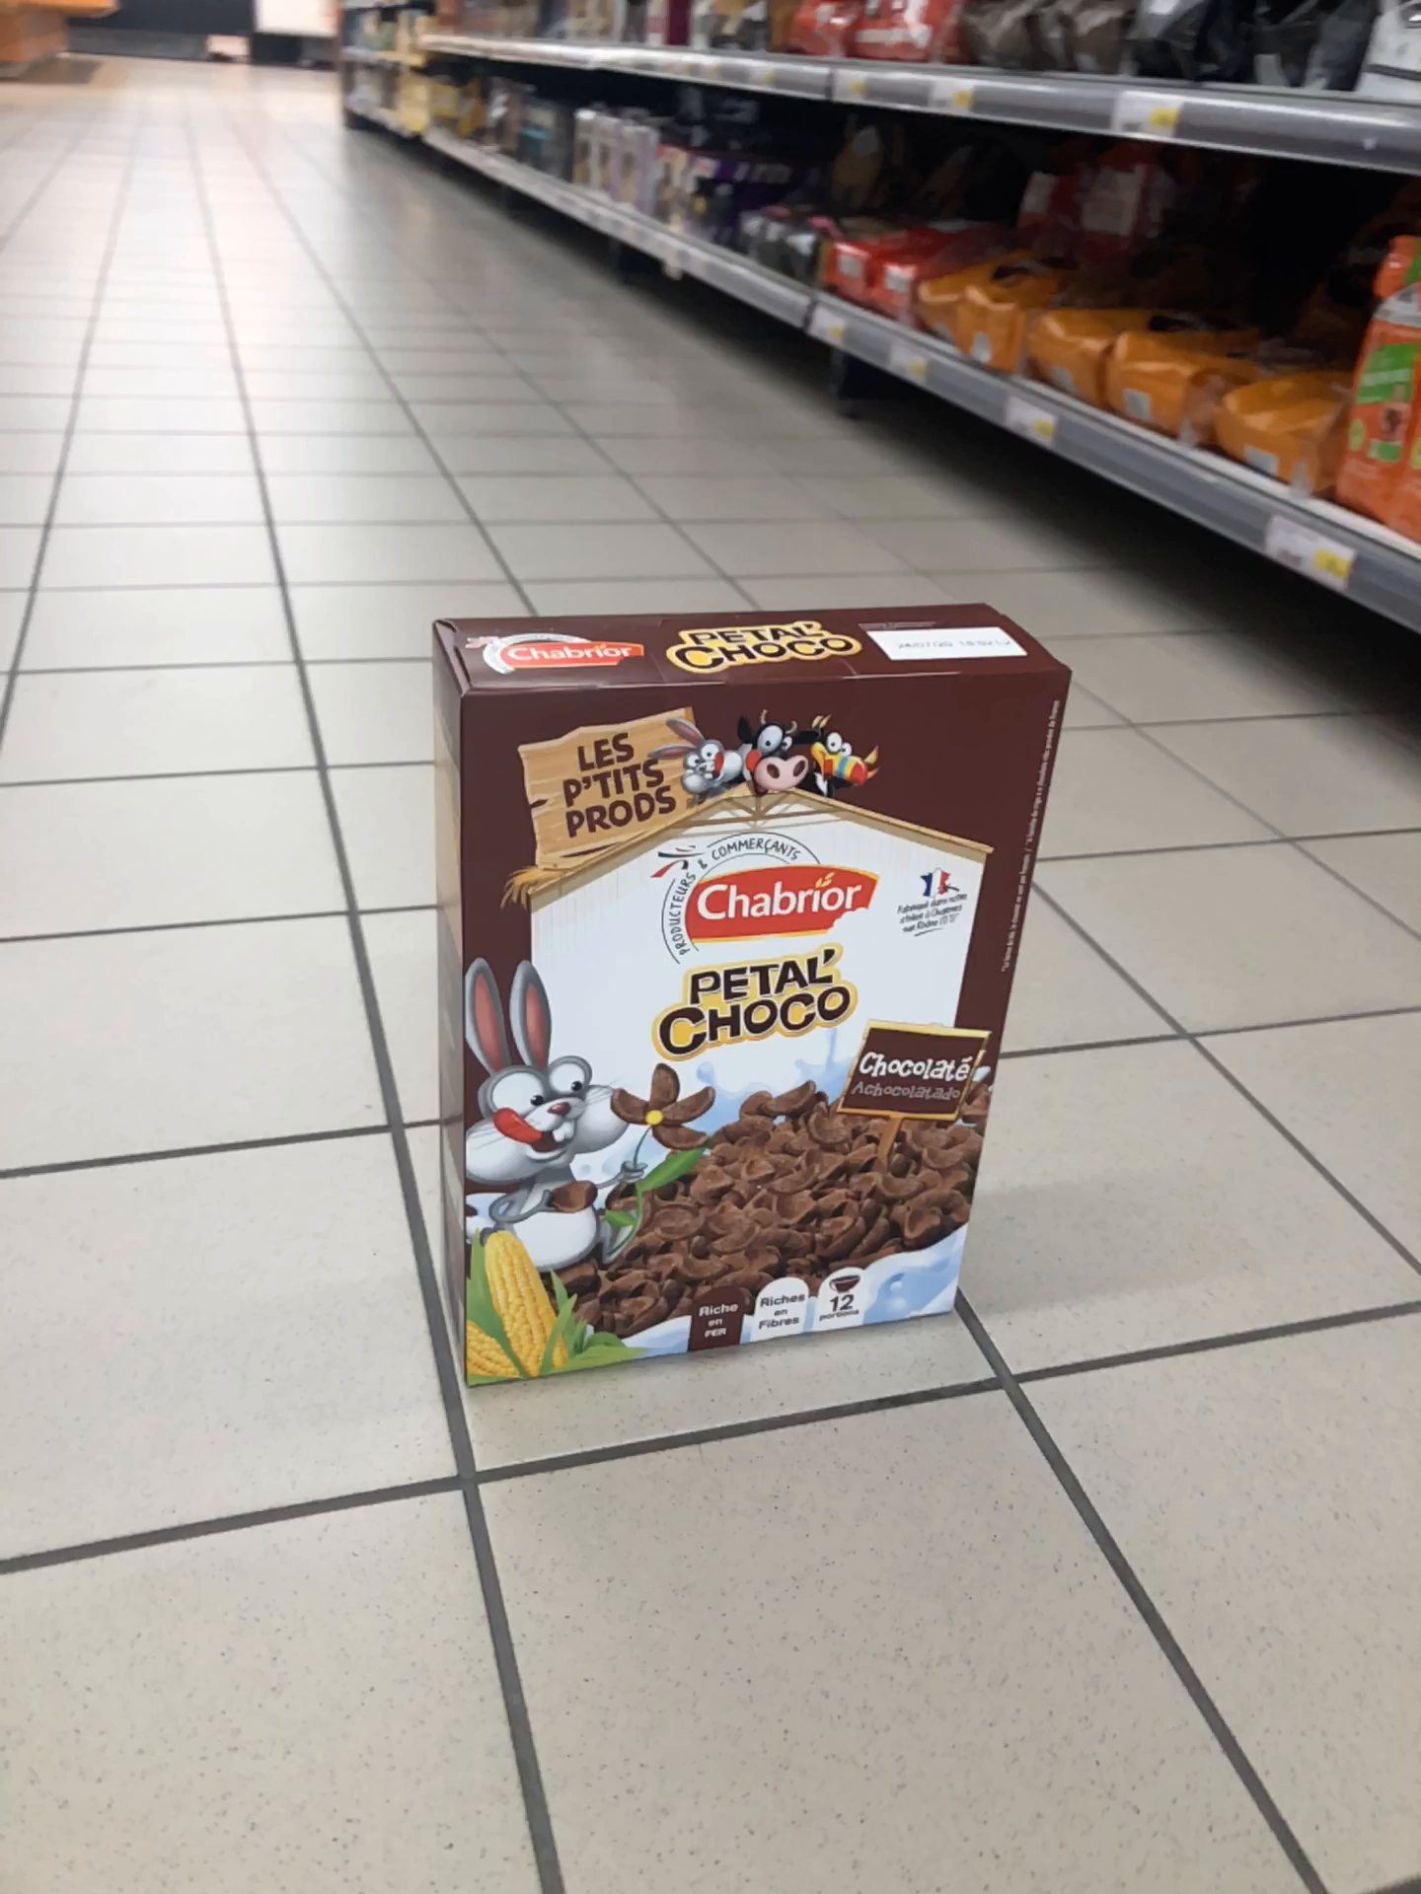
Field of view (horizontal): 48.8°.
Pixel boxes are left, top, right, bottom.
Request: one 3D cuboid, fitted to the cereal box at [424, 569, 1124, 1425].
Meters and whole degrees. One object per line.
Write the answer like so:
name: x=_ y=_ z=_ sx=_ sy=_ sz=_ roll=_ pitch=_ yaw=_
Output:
cereal box: x=0.010 y=0.019 z=0.538 sx=0.200 sy=0.278 sz=0.070 roll=-5 pitch=30 yaw=-17
